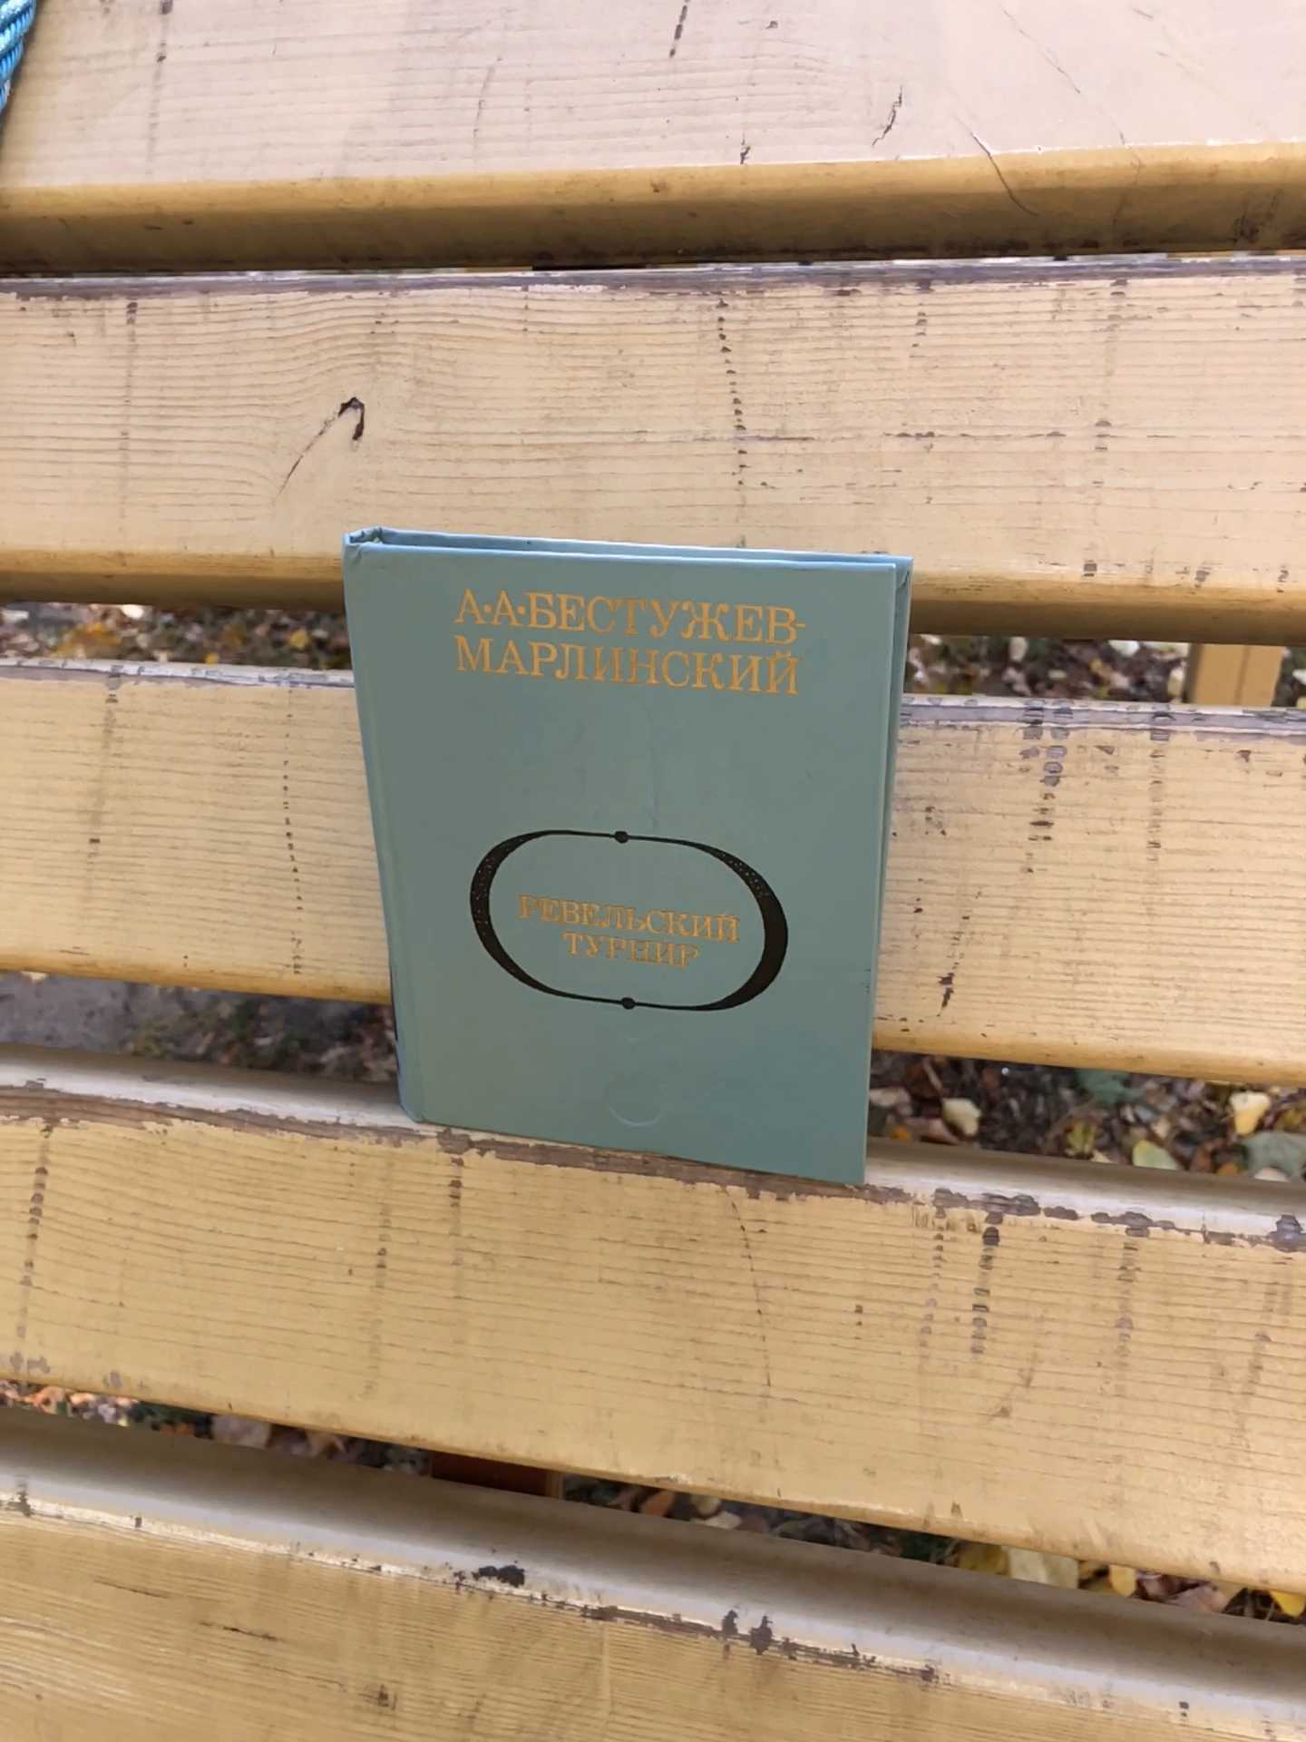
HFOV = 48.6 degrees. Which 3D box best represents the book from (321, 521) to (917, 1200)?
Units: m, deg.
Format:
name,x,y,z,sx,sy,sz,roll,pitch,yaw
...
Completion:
name,x,y,z,sx,sy,sz,roll,pitch,yaw
book,-0.006,-0.001,0.375,0.140,0.169,0.022,6,28,18
